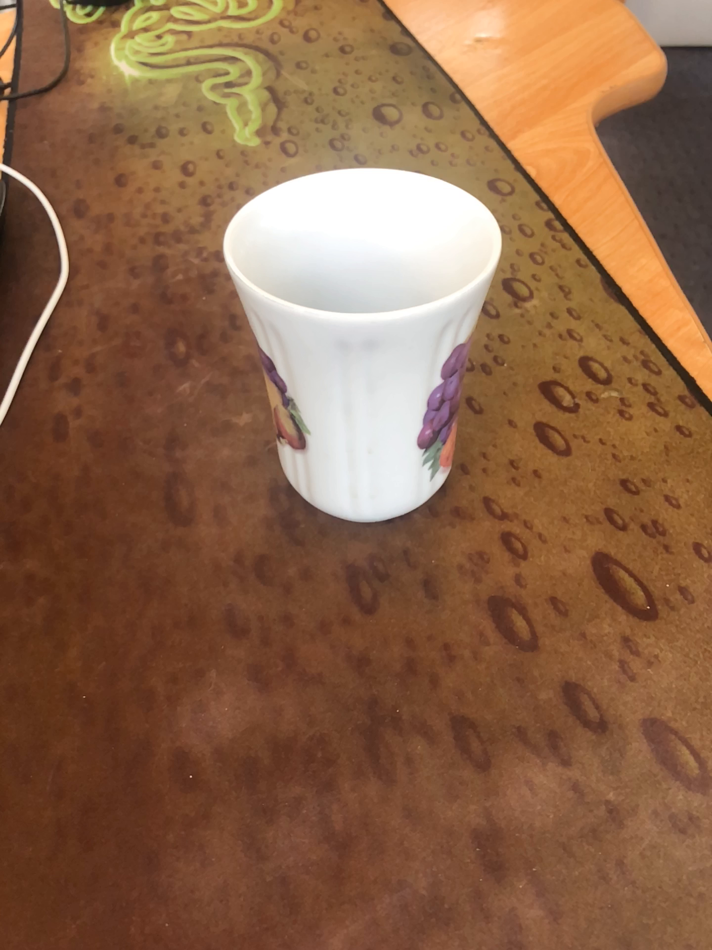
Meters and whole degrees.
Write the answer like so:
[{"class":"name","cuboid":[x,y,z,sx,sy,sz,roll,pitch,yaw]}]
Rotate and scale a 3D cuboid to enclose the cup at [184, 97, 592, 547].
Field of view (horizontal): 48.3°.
[{"class":"cup","cuboid":[0.004,-0.051,0.247,0.080,0.080,0.100,-17,49,-13]}]
